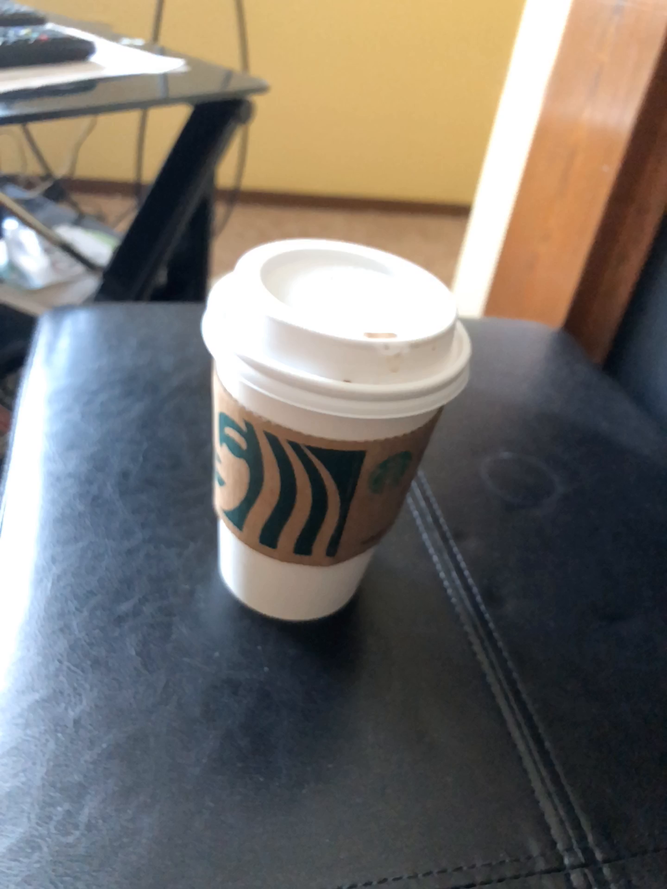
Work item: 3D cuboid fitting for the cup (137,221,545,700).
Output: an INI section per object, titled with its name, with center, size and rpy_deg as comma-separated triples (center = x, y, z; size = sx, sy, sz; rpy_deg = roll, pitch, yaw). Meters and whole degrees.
[cup]
center = -0.008, 0.001, 0.263
size = 0.090, 0.120, 0.090
rpy_deg = 7, 37, -5
